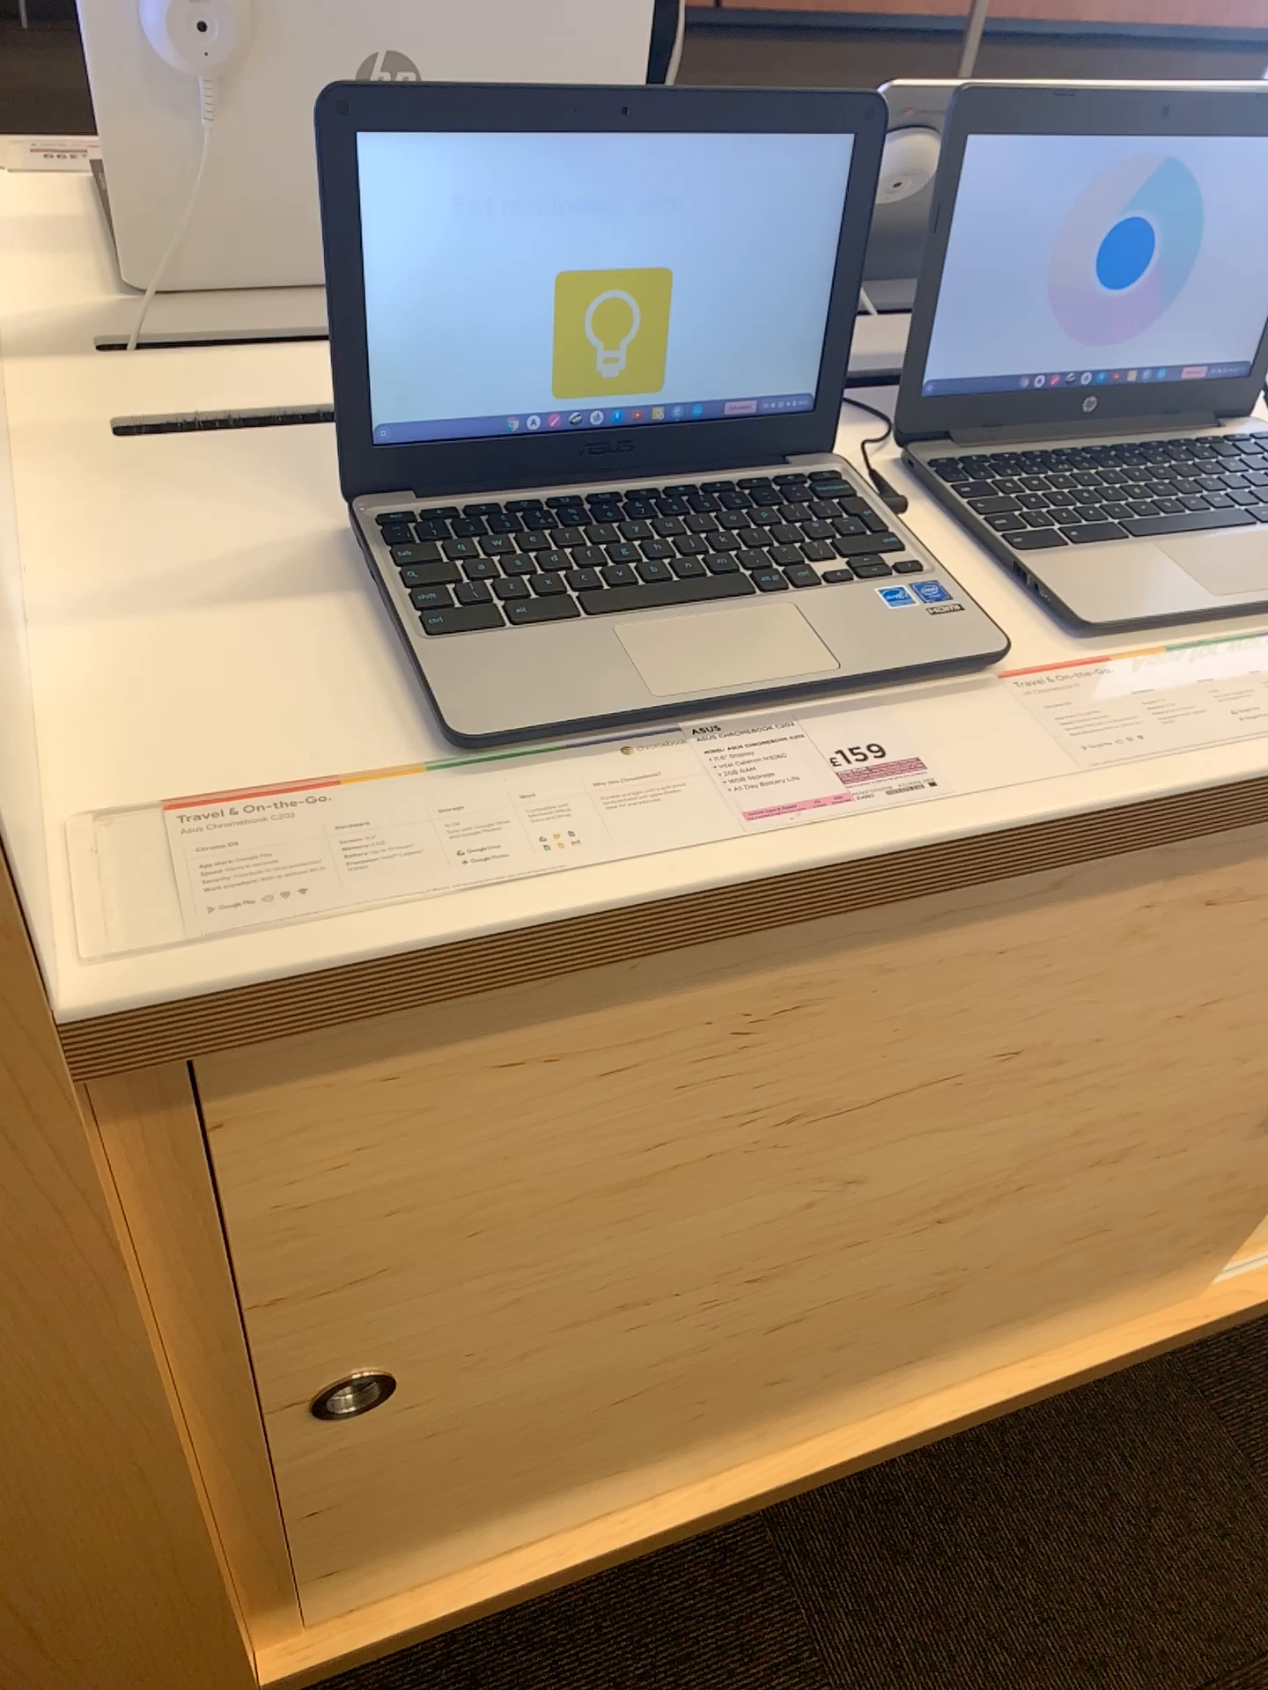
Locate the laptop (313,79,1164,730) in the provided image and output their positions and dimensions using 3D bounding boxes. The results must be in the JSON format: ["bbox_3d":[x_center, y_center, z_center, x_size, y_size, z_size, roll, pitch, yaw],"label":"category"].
[{"bbox_3d":[0.026,-0.211,0.591,0.280,0.183,0.217,-11,46,-20],"label":"laptop"}]
